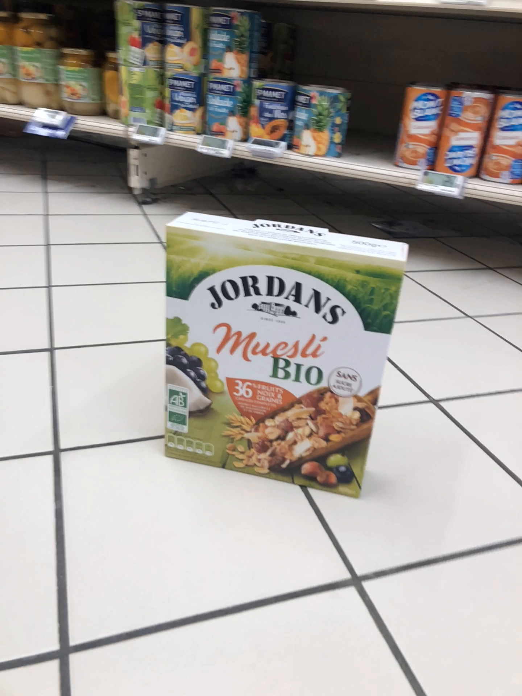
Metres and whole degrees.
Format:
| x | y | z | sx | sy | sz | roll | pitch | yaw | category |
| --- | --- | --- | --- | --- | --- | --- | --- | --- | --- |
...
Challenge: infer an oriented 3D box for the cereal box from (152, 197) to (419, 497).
| x | y | z | sx | sy | sz | roll | pitch | yaw | category |
| --- | --- | --- | --- | --- | --- | --- | --- | --- | --- |
| 0.012 | 0.000 | 0.469 | 0.190 | 0.209 | 0.060 | 10 | 26 | 10 | cereal box |
